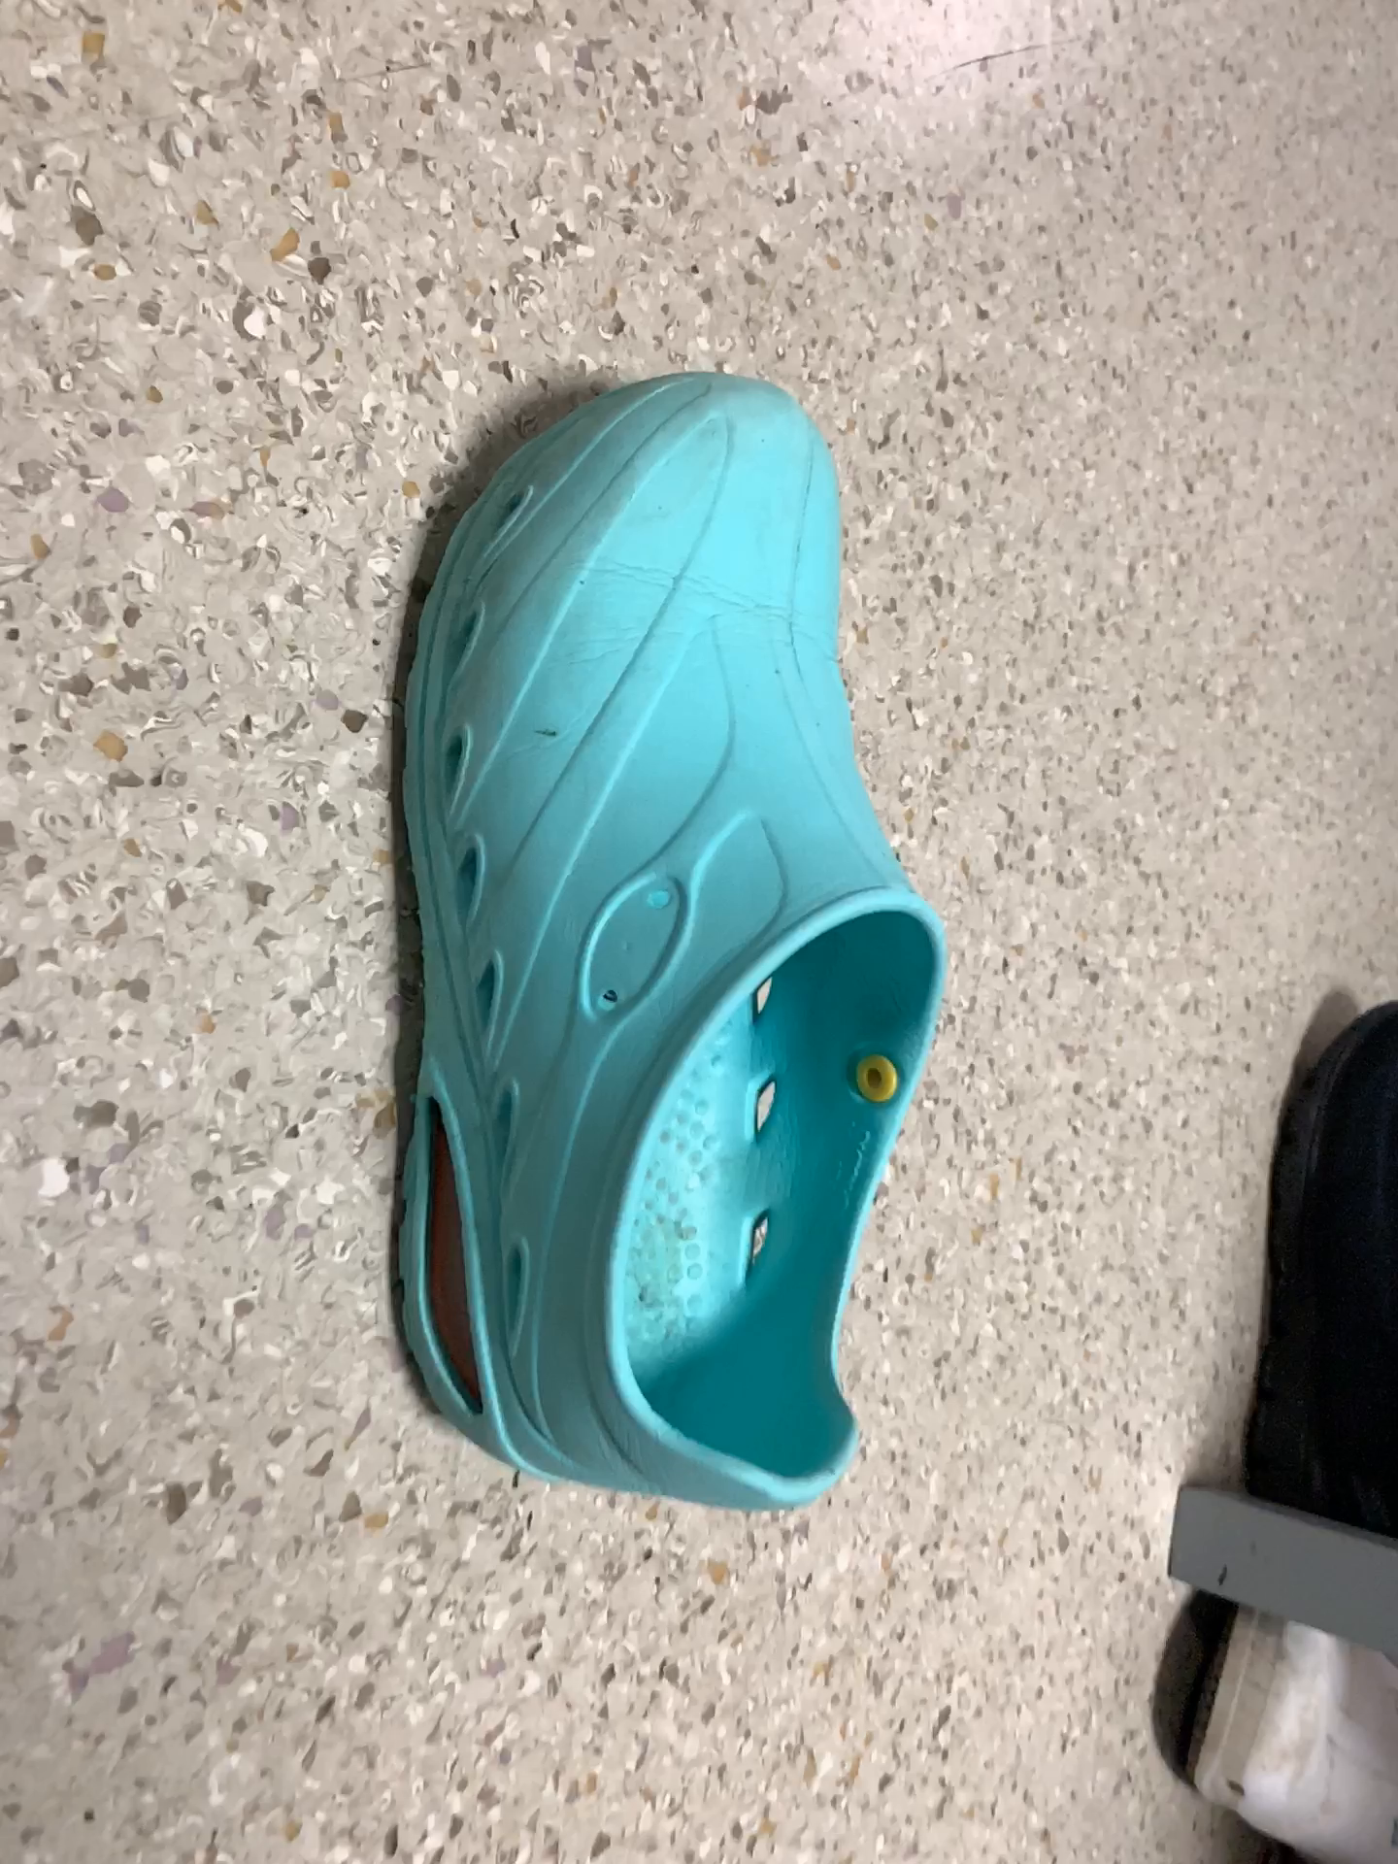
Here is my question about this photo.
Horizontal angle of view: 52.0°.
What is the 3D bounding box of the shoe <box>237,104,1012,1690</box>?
[{"bbox_3d":[-0.015,-0.006,0.322,0.106,0.105,0.275,8,86,-45],"label":"shoe"}]
